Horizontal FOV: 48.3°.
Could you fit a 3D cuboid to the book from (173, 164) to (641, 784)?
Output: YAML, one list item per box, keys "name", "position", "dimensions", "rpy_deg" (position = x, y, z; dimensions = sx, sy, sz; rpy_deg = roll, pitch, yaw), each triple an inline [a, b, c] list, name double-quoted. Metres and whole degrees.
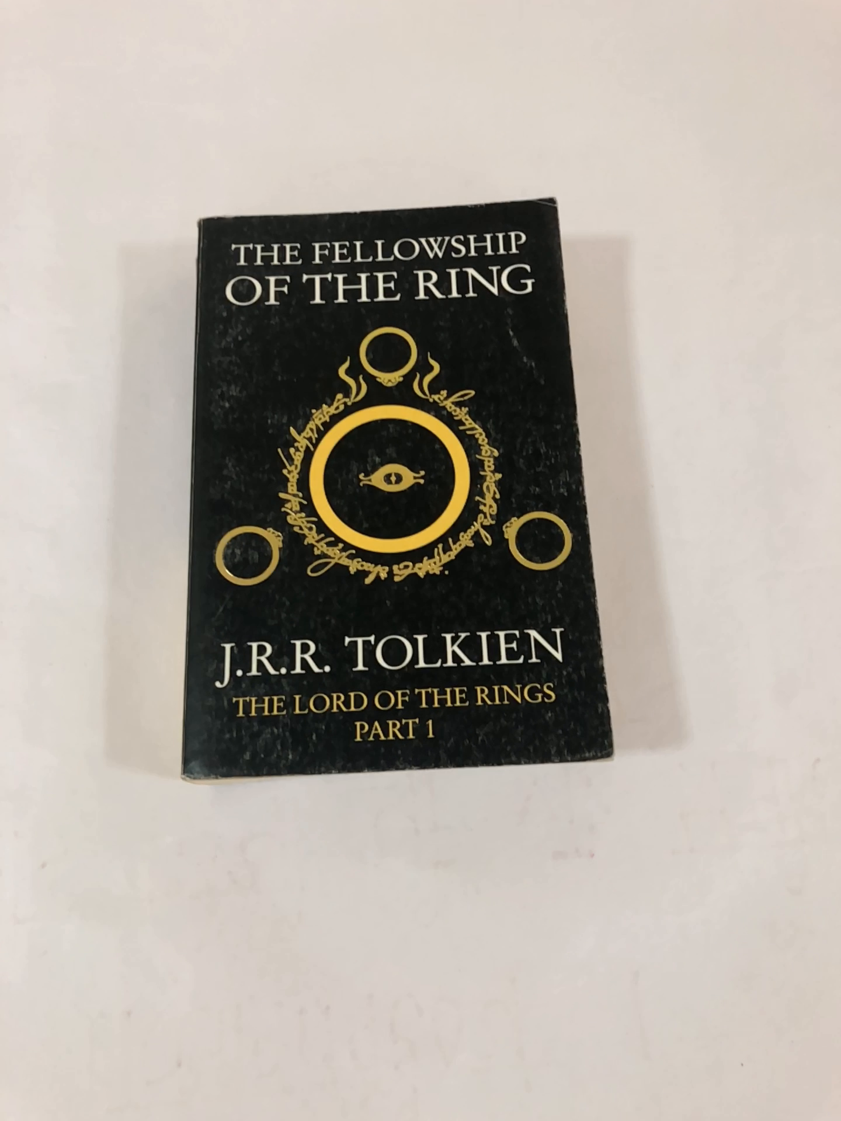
- name: "book"
  position: [-0.001, -0.031, 0.314]
  dimensions: [0.130, 0.050, 0.200]
  rpy_deg: [0, 71, 5]
